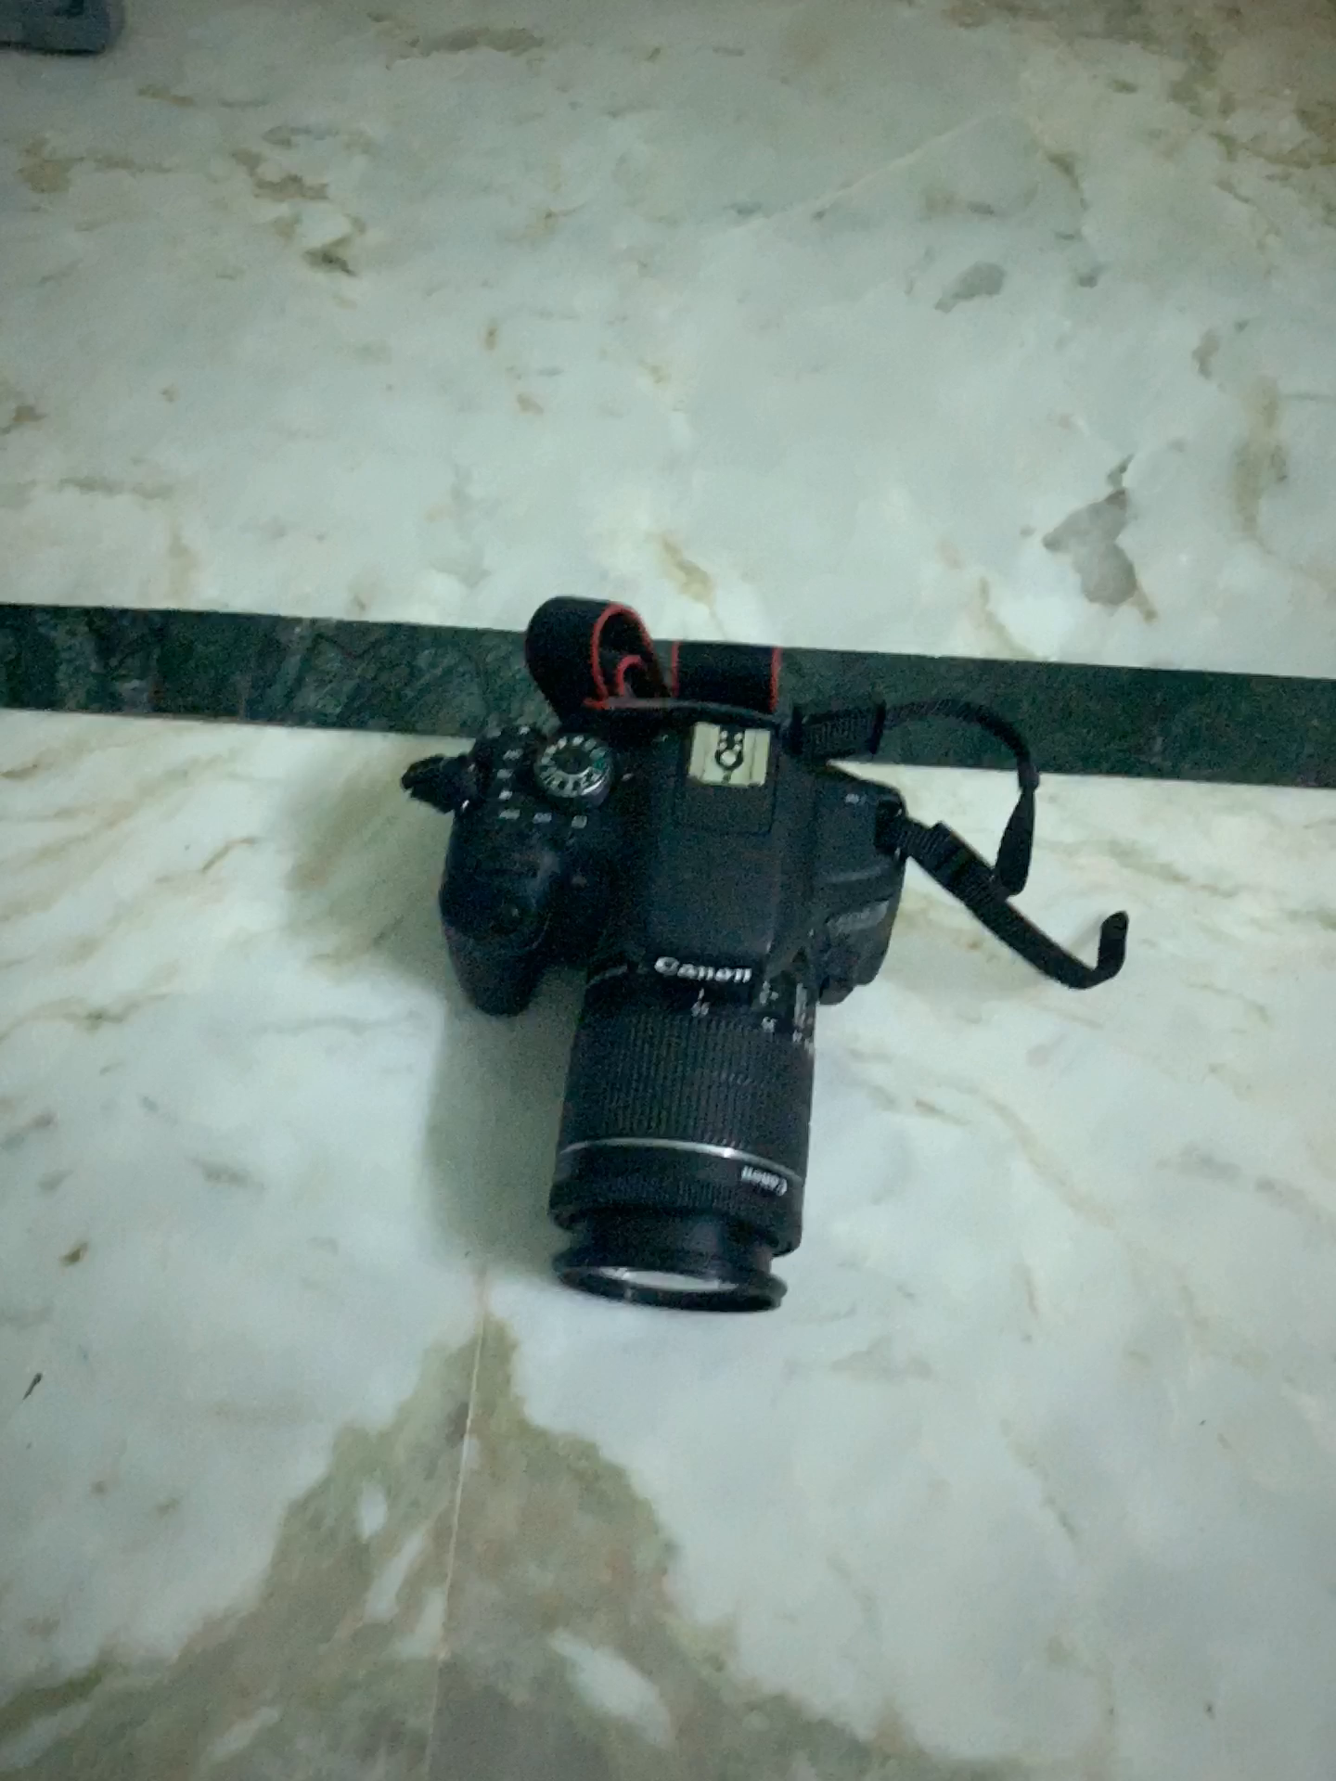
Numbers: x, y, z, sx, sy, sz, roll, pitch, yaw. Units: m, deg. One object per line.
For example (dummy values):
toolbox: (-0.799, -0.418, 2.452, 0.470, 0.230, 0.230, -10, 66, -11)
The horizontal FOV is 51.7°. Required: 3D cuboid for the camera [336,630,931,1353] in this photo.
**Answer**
camera: (-0.001, 0.029, 0.378, 0.128, 0.100, 0.160, 5, 62, 2)
